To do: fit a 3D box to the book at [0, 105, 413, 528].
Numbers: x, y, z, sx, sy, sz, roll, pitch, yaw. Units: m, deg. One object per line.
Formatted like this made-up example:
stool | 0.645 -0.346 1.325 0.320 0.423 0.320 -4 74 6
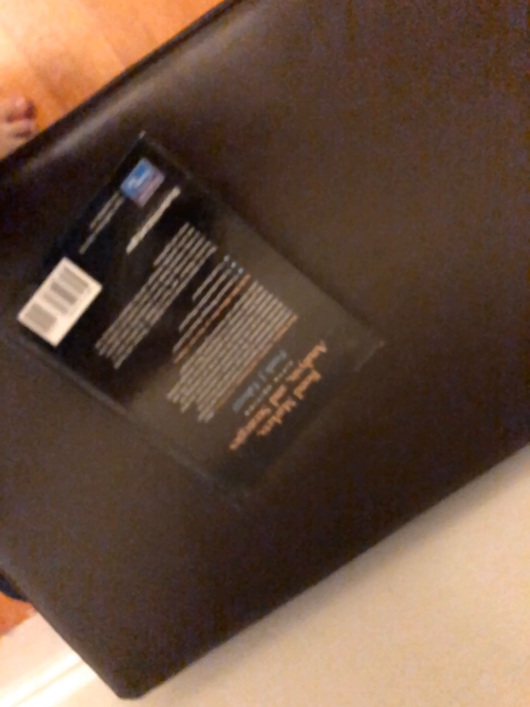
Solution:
book | -0.049 -0.018 0.466 0.260 0.040 0.200 40 96 -13
